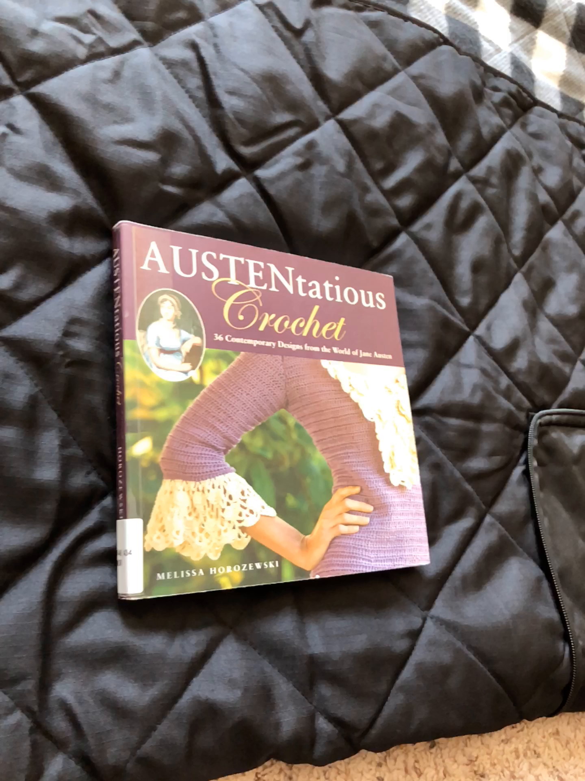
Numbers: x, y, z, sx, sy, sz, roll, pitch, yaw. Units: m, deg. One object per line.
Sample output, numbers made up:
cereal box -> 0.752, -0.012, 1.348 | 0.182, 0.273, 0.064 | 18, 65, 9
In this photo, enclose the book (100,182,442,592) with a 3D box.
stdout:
book -> -0.008, -0.003, 0.419 | 0.221, 0.020, 0.230 | 3, 74, -32
